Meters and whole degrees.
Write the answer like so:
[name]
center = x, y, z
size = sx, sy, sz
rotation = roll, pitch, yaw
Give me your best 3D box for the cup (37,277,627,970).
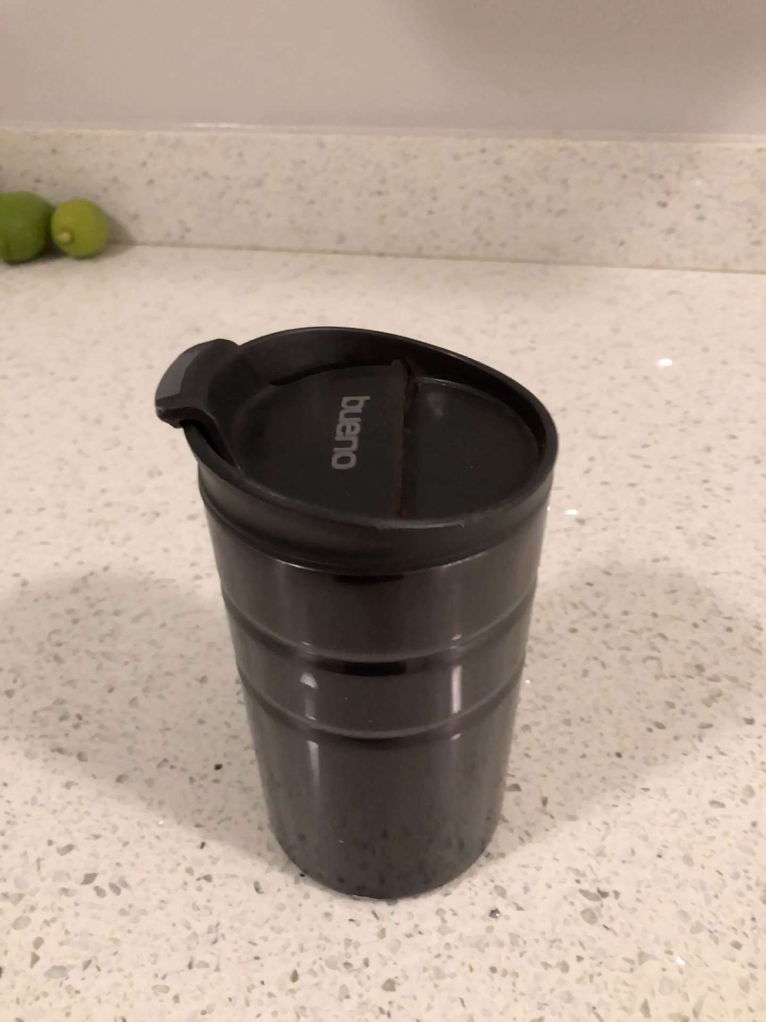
[cup]
center = -0.006, 0.021, 0.207
size = 0.085, 0.116, 0.086
rotation = -1, 36, 1
